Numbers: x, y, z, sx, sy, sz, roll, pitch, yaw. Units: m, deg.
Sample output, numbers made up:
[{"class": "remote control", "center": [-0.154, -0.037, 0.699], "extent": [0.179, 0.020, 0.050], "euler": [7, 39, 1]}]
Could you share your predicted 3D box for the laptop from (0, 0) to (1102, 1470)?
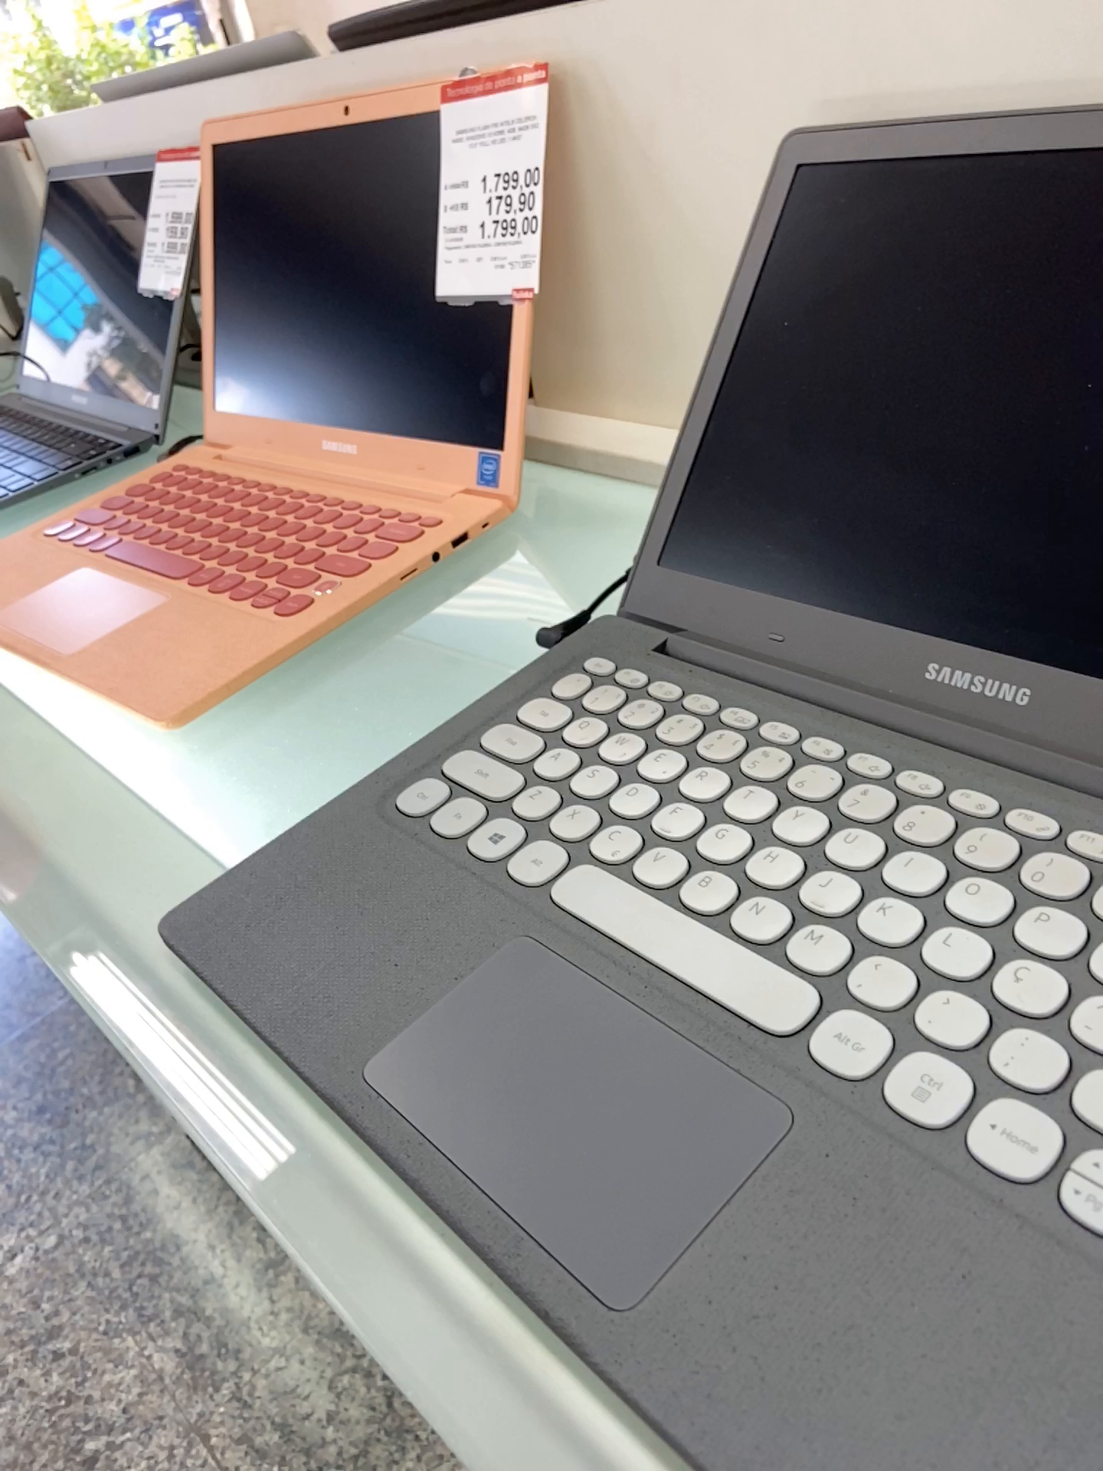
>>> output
[{"class": "laptop", "center": [0.089, -0.047, 0.306], "extent": [0.365, 0.144, 0.320], "euler": [-37, 39, -27]}]
